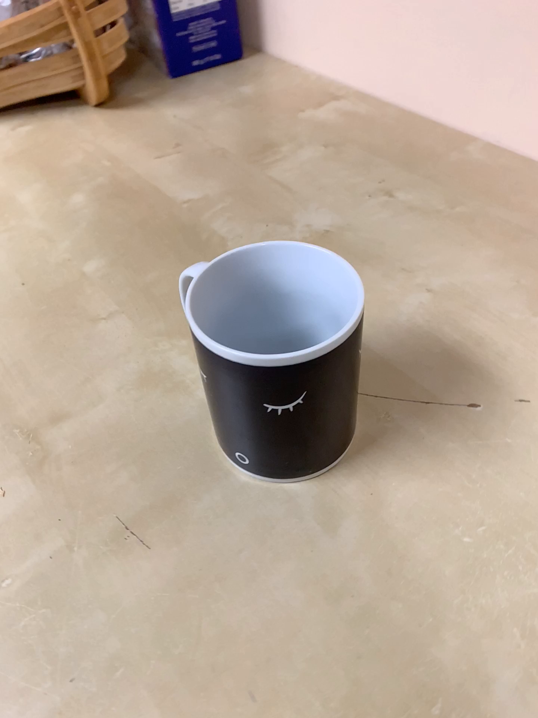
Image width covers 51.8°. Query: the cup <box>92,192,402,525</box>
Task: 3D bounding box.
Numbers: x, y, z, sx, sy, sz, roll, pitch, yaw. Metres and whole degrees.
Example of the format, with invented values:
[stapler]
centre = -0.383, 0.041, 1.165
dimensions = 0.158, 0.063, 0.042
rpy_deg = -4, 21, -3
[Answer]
[cup]
centre = -0.011, -0.004, 0.291
dimensions = 0.084, 0.101, 0.122
rpy_deg = -36, 54, -25
